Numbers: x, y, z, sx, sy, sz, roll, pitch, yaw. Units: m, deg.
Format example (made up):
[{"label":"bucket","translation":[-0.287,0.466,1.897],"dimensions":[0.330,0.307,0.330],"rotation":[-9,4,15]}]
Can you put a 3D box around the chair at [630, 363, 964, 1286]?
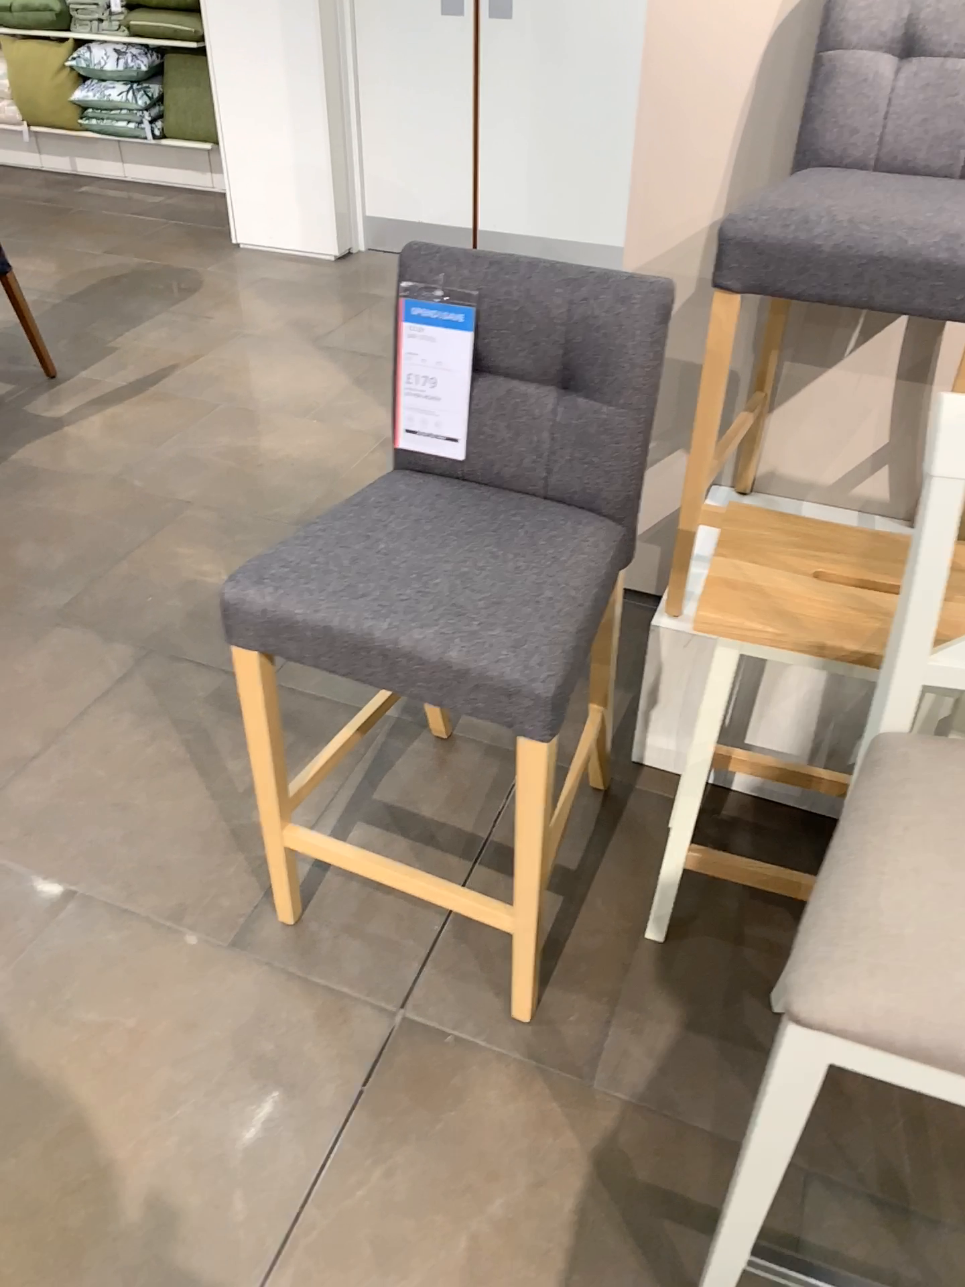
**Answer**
[{"label":"chair","translation":[0.502,0.309,0.945],"dimensions":[0.507,0.938,0.502],"rotation":[14,38,17]}]

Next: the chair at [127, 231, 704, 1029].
[{"label":"chair","translation":[-0.050,-0.021,1.398],"dimensions":[0.487,0.908,0.522],"rotation":[15,38,18]}]

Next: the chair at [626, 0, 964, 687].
[{"label":"chair","translation":[0.606,-0.518,1.516],"dimensions":[0.547,0.918,0.543],"rotation":[14,38,17]}]
